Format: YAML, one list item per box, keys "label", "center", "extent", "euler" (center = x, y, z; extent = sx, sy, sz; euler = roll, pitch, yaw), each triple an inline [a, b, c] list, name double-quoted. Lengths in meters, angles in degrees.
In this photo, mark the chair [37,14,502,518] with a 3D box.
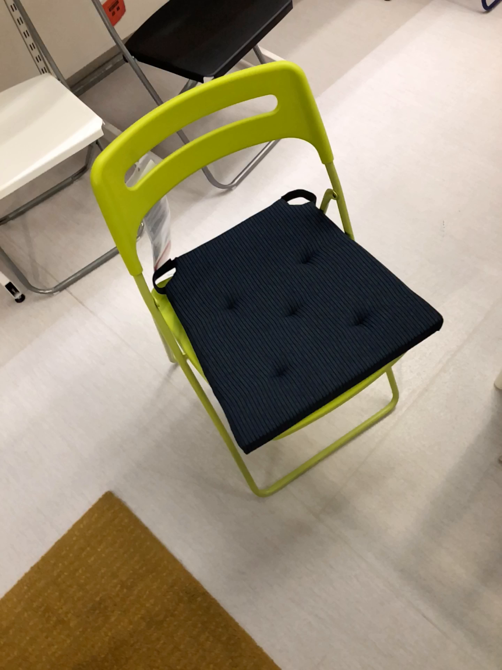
- label: "chair"
  center: [0.059, -0.067, 1.005]
  extent: [0.490, 0.637, 0.462]
  euler: [-32, 63, -11]
